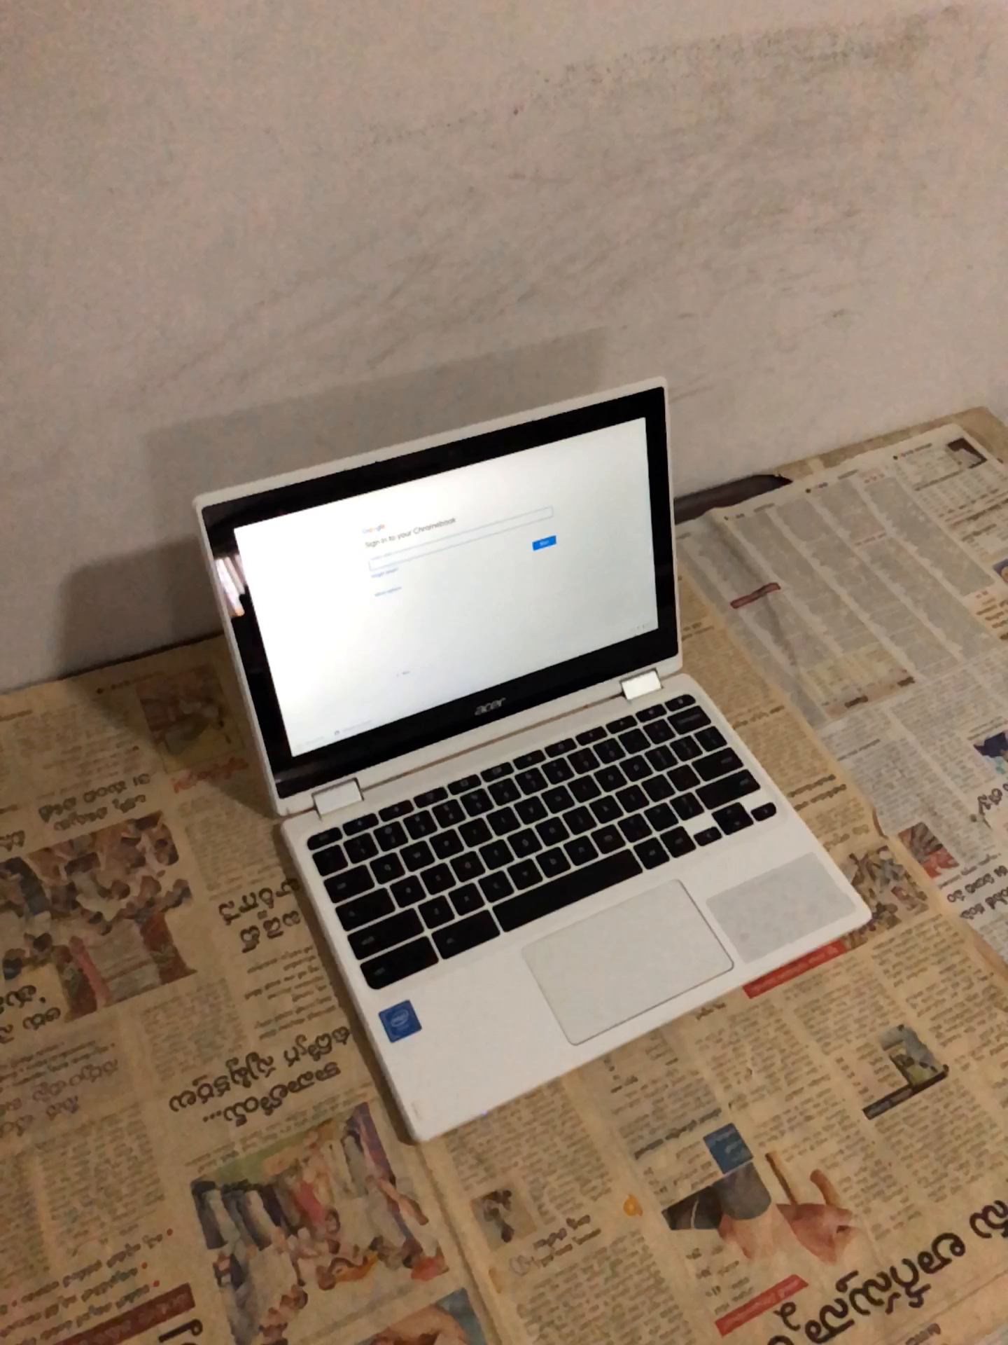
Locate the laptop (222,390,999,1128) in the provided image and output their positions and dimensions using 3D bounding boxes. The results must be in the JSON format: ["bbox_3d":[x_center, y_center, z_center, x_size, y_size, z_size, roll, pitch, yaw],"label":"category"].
[{"bbox_3d":[0.032,0.026,0.590,0.268,0.168,0.279,-19,54,-20],"label":"laptop"}]
